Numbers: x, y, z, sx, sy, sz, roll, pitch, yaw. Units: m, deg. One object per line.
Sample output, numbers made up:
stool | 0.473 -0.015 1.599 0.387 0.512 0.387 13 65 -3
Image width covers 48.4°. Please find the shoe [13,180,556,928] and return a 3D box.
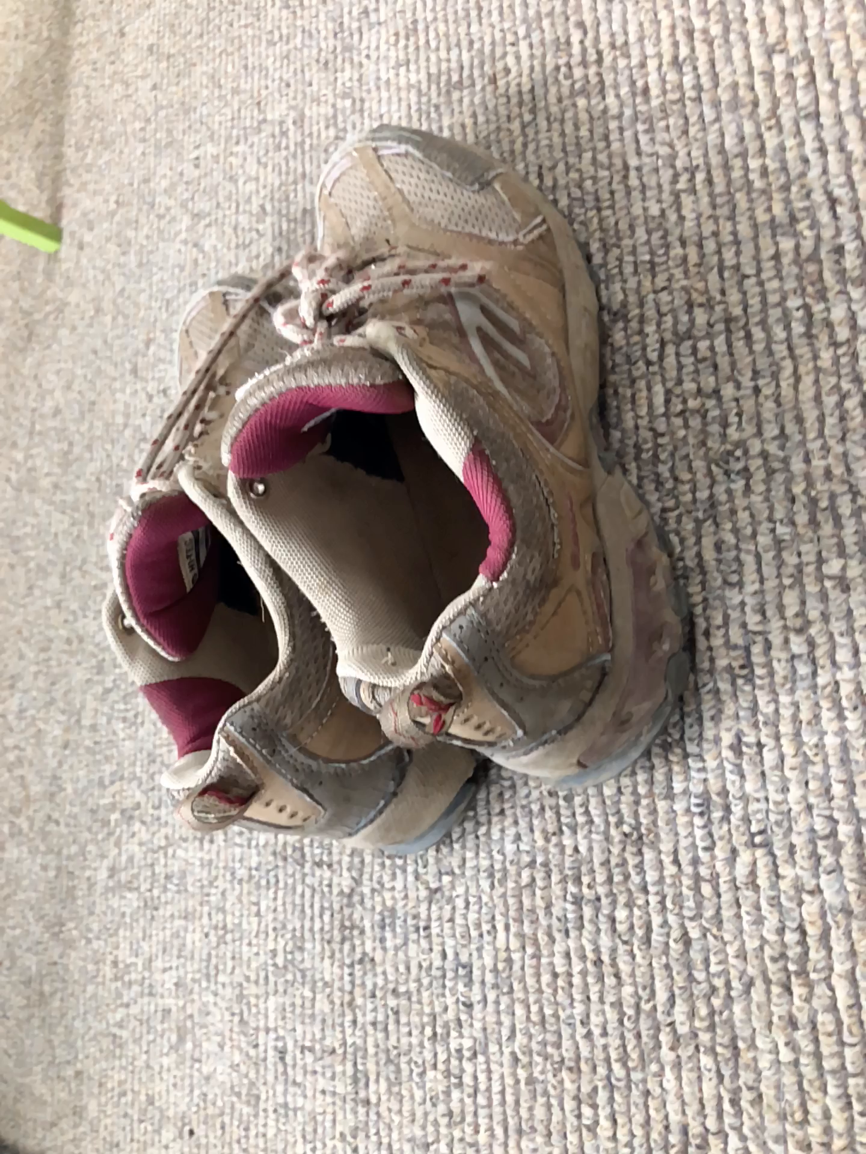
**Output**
shoe | -0.076 -0.014 0.403 0.110 0.119 0.271 -39 57 29

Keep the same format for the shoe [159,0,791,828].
shoe | 0.002 -0.062 0.348 0.112 0.123 0.272 -31 61 33
